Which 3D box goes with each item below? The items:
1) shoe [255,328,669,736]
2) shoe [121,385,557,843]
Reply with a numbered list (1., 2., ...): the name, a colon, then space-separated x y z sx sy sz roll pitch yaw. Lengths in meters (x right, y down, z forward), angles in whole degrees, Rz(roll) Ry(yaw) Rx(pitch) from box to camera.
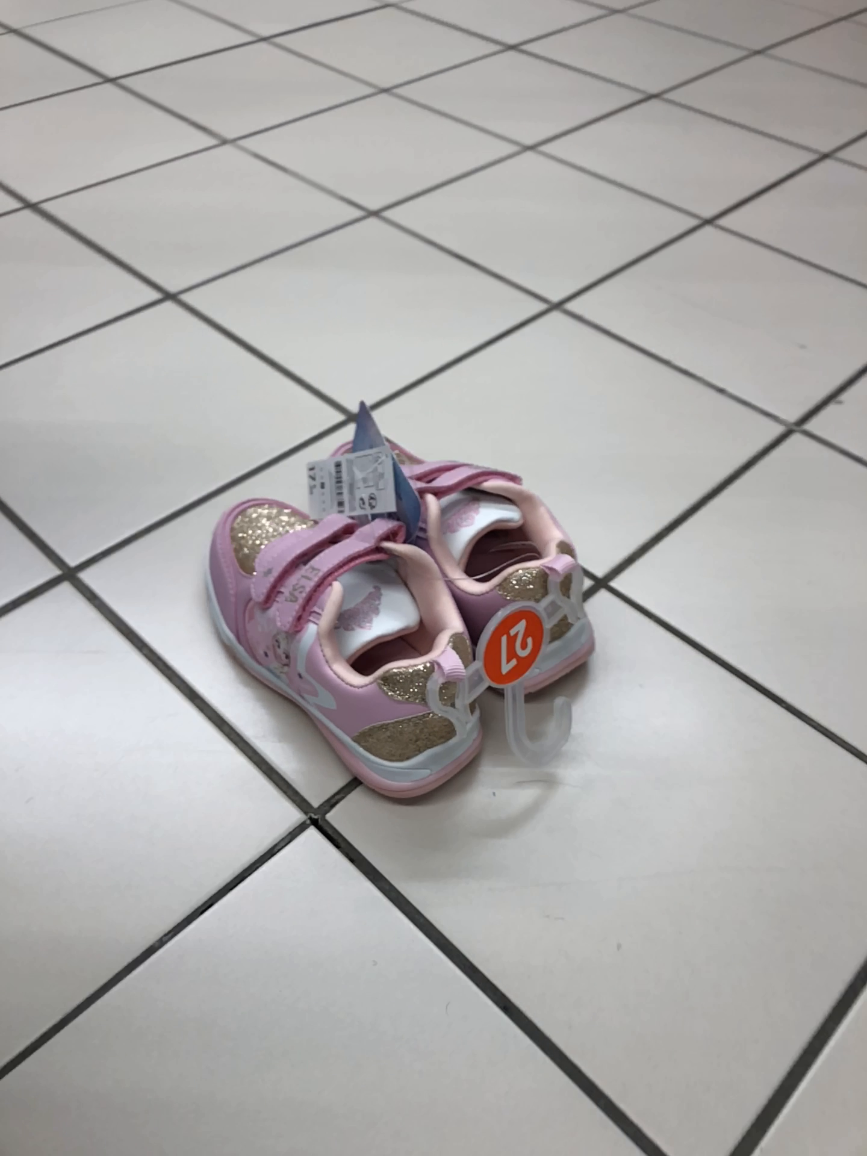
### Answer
1. shoe: 0.006 -0.031 0.477 0.083 0.087 0.195 -31 54 -28
2. shoe: -0.048 0.007 0.438 0.083 0.087 0.195 -31 54 -28
